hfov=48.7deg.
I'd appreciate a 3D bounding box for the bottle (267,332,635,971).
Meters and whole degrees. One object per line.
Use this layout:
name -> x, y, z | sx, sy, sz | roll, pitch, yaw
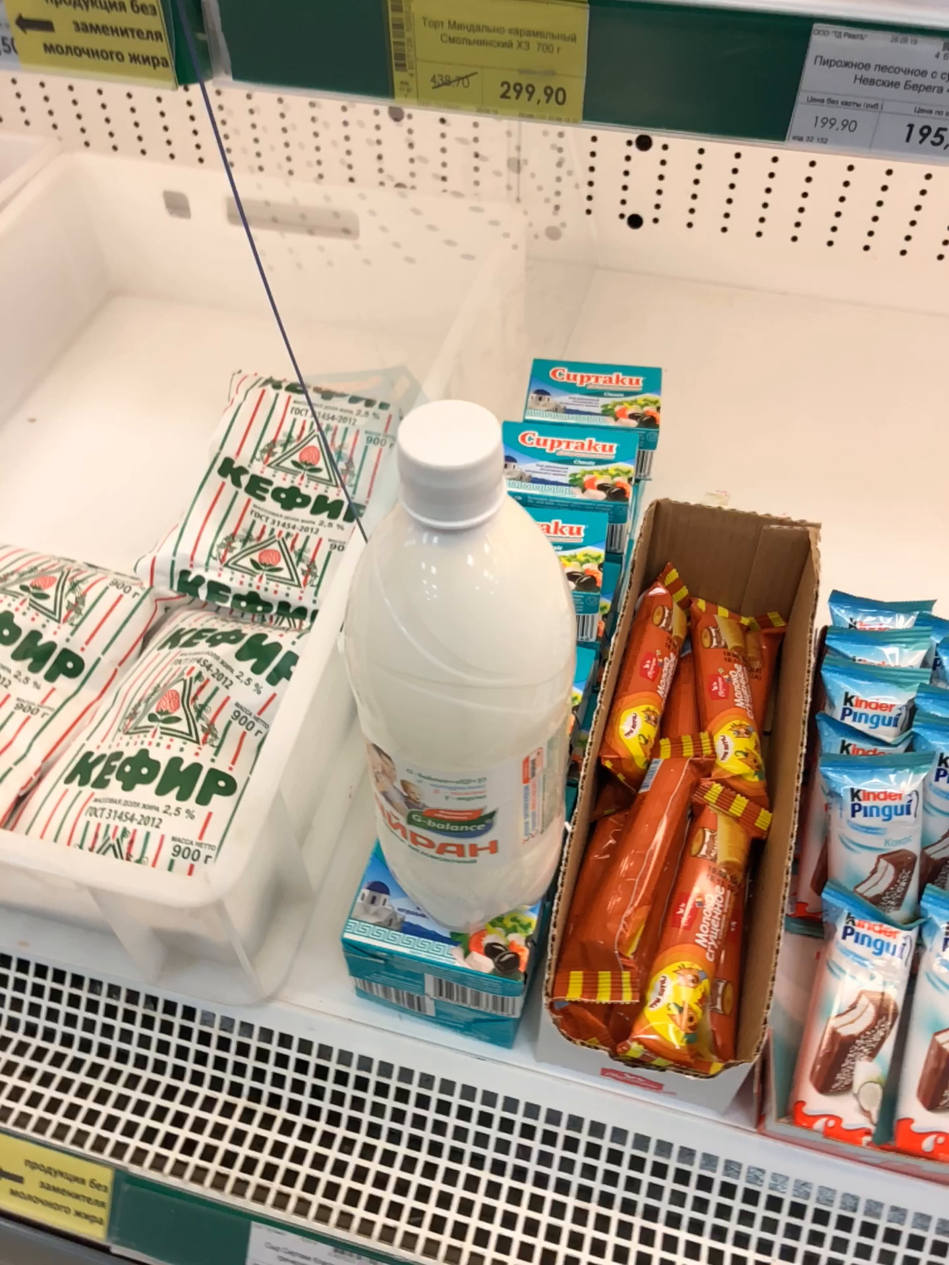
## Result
bottle -> -0.003, 0.026, 0.390 | 0.077, 0.250, 0.080 | 0, 50, 1
